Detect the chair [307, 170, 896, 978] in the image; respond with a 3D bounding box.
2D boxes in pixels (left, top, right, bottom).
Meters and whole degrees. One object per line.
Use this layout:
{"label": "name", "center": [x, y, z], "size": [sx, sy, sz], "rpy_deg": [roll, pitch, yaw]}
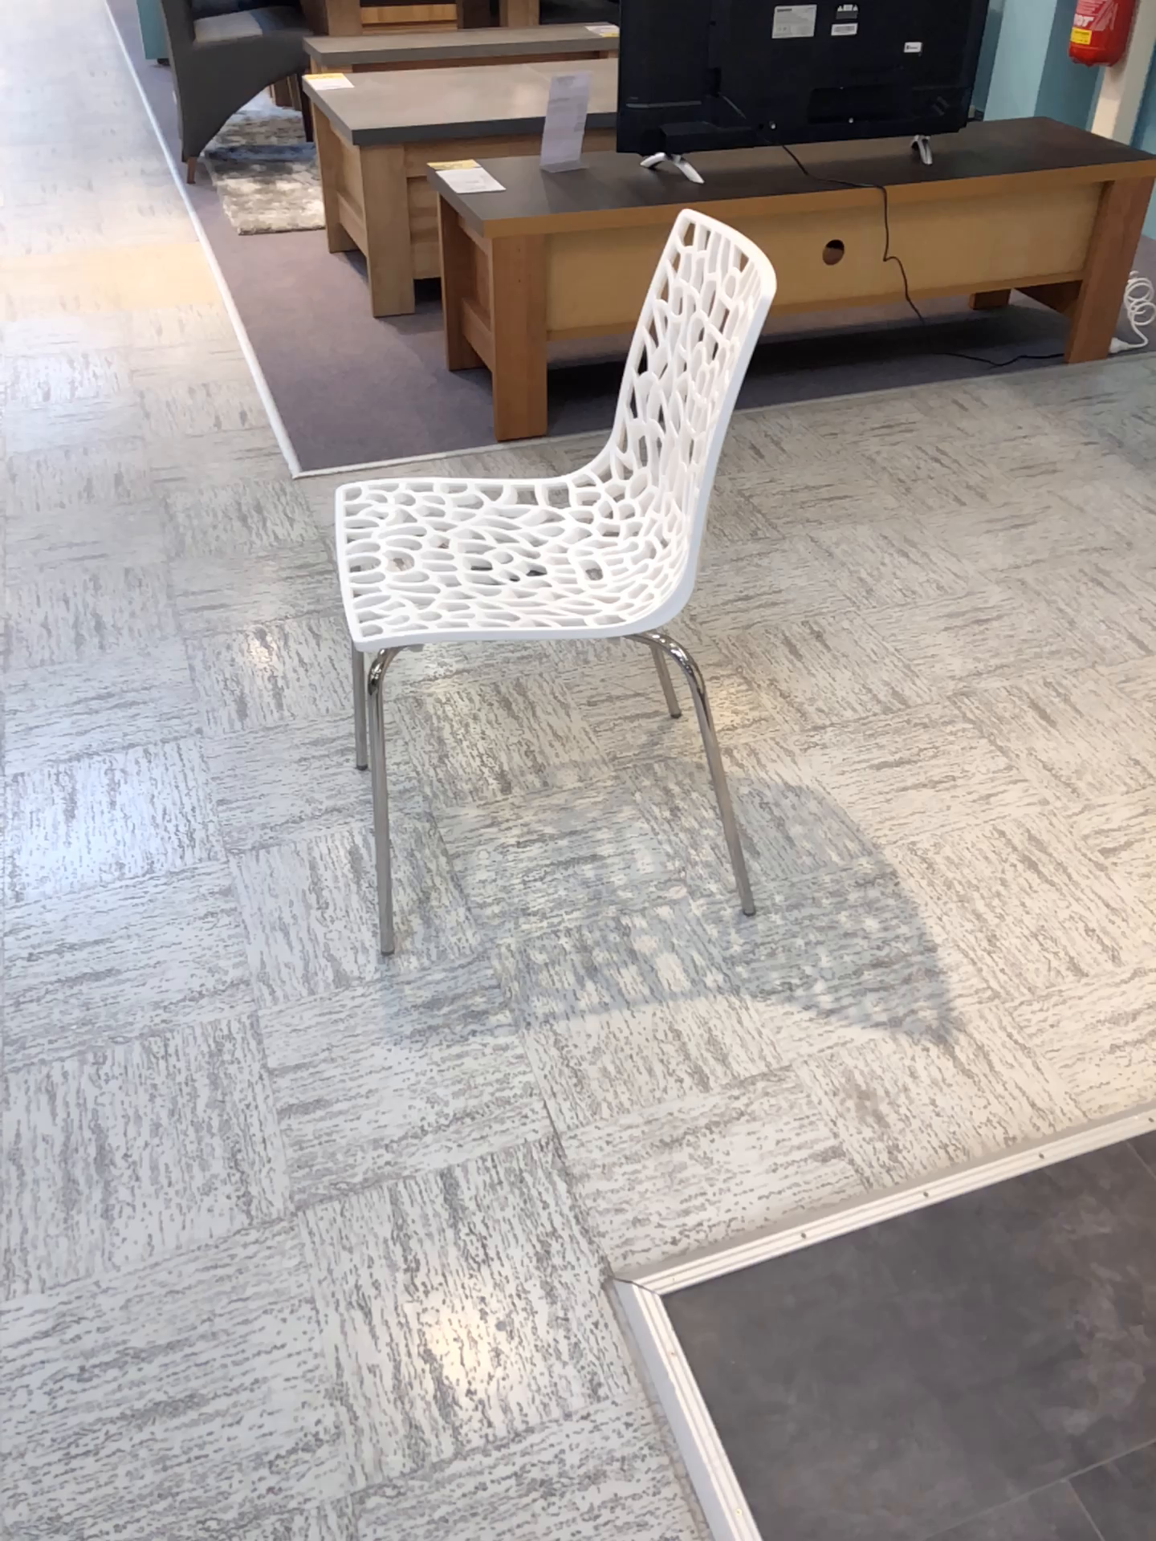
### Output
{"label": "chair", "center": [-0.008, -0.223, 1.496], "size": [0.510, 0.785, 0.452], "rpy_deg": [-6, 39, -8]}
